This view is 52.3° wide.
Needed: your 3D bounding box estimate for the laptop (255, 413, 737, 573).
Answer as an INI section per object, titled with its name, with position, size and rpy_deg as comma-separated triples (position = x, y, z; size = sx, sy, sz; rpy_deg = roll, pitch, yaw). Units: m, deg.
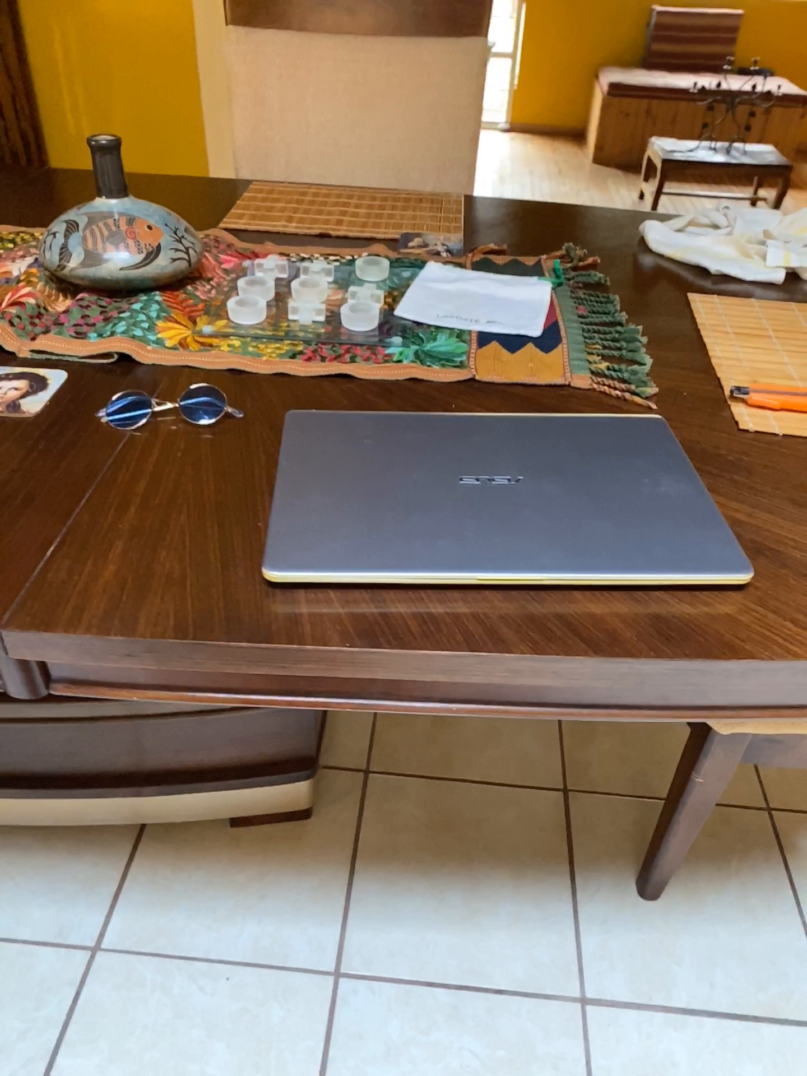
[laptop]
position = 0.073, -0.049, 0.743
size = 0.383, 0.001, 0.247
rpy_deg = 0, 38, -4
